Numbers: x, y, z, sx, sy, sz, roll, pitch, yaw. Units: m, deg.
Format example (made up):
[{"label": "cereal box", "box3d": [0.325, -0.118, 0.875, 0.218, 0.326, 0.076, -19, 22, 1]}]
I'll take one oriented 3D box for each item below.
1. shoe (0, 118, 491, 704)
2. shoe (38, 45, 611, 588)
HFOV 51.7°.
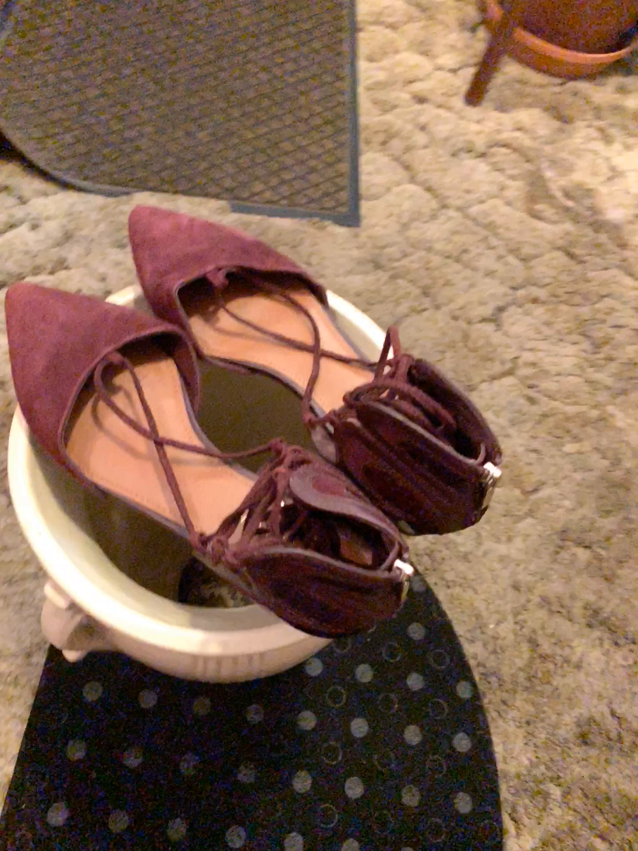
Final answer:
[{"label": "shoe", "box3d": [-0.068, -0.006, 0.301, 0.260, 0.099, 0.093, 41, 65, 11]}, {"label": "shoe", "box3d": [-0.008, -0.055, 0.330, 0.260, 0.099, 0.093, 43, 66, 12]}]
